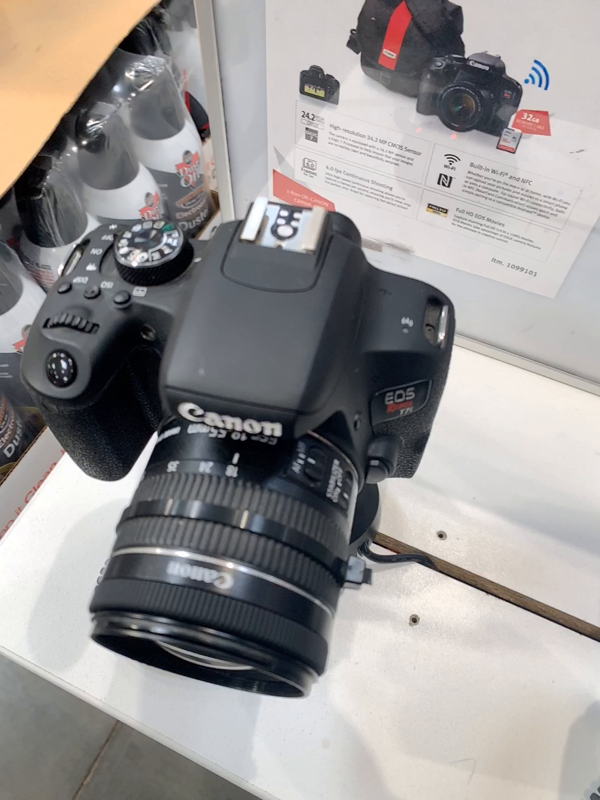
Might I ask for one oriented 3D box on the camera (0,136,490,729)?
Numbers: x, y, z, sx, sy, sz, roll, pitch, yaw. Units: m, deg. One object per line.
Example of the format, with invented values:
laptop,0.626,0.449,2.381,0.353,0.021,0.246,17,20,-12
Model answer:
camera,-0.027,0.009,0.178,0.134,0.089,0.121,10,58,6
